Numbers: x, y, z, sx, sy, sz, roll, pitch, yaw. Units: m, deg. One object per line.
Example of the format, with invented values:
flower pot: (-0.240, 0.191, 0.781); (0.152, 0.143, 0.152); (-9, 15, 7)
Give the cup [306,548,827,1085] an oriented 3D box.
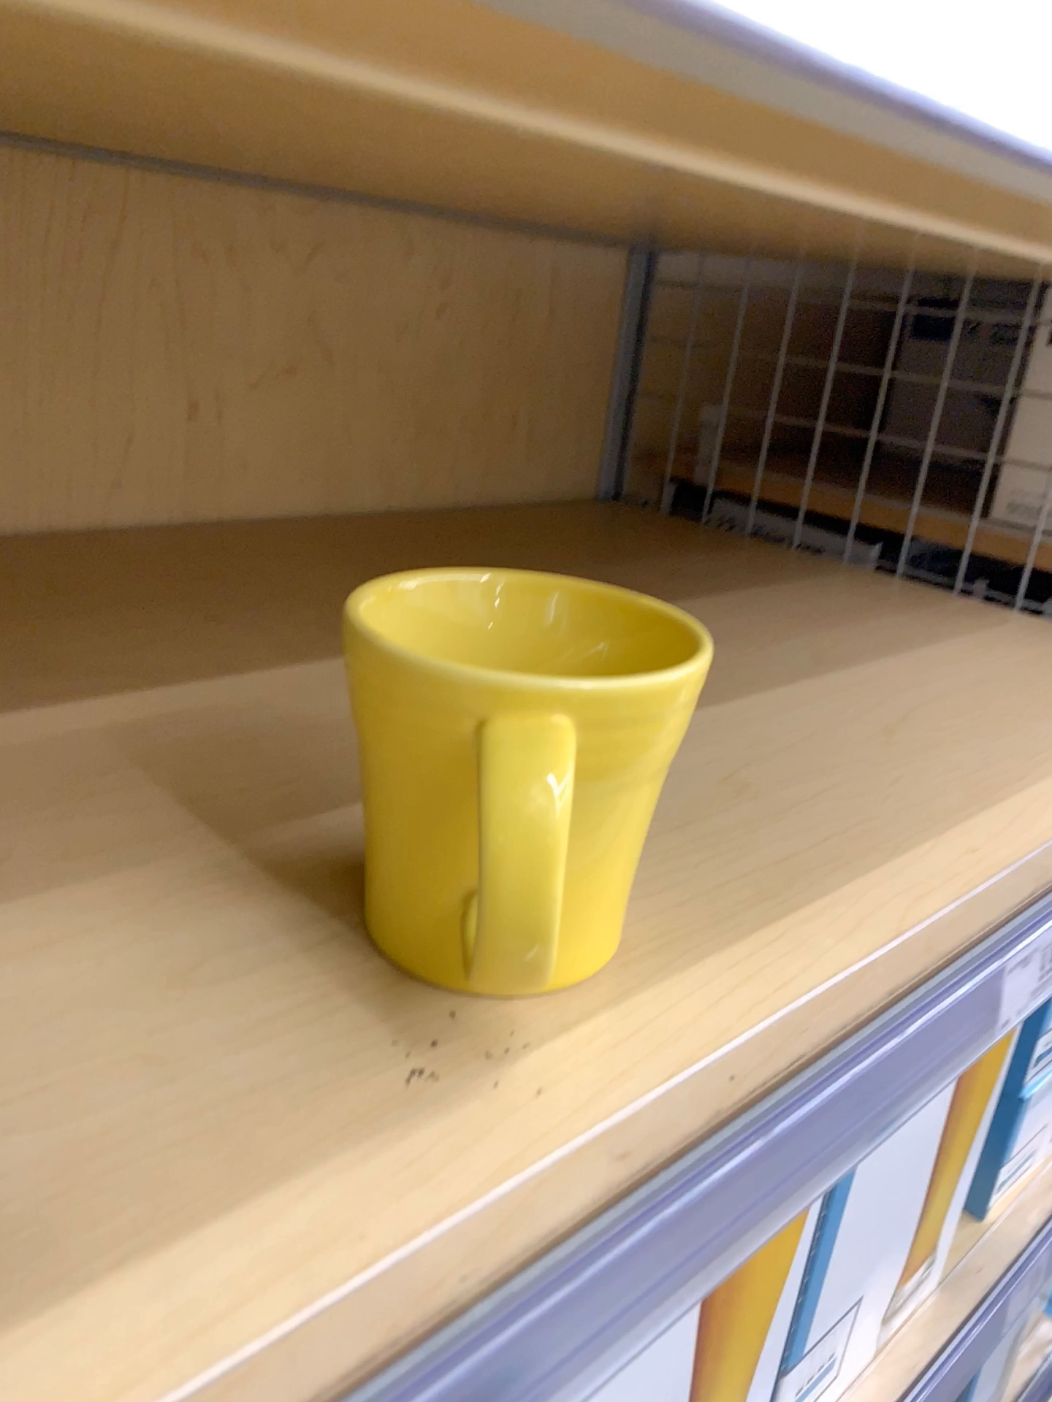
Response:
cup: (-0.001, 0.021, 0.298); (0.103, 0.088, 0.140); (4, 20, -8)
